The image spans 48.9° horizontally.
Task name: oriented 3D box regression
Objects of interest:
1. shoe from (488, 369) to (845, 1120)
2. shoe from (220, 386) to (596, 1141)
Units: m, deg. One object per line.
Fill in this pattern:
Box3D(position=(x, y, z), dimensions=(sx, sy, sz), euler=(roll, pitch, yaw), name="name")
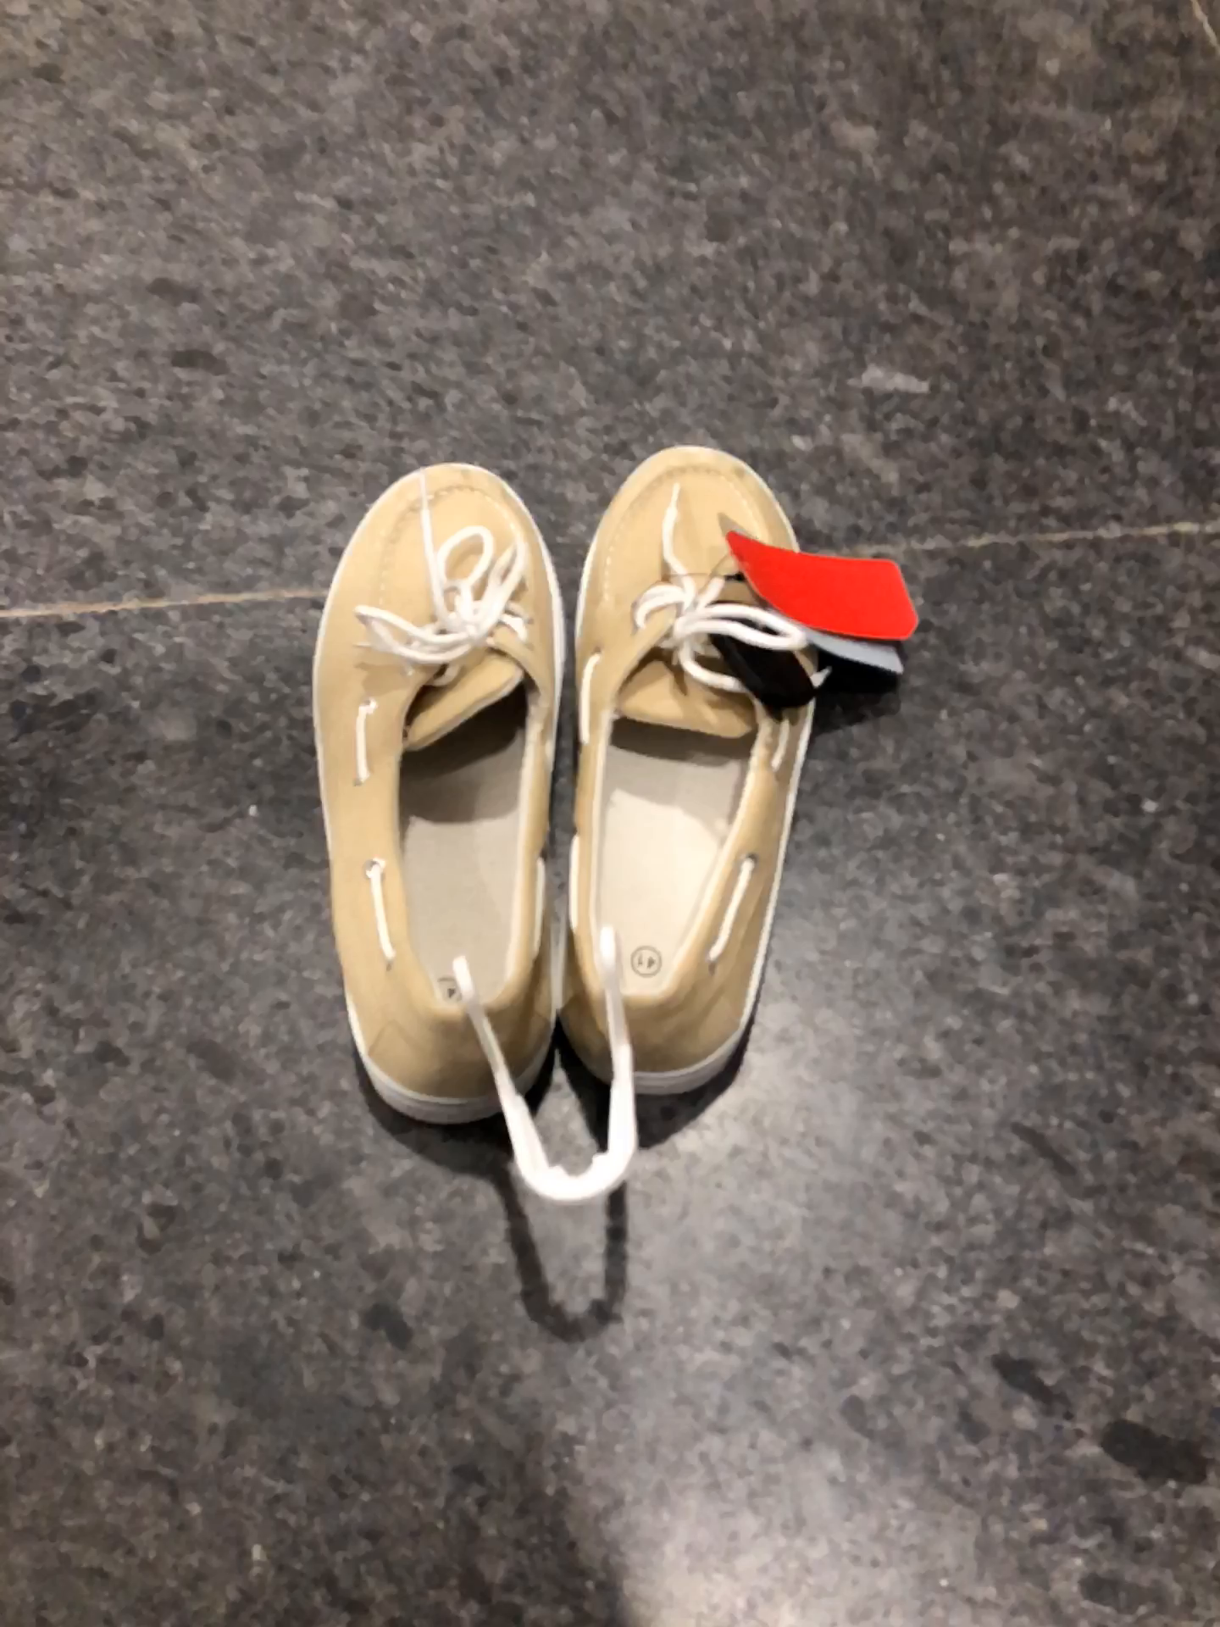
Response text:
Box3D(position=(0.025, -0.028, 0.482), dimensions=(0.096, 0.106, 0.243), euler=(5, 62, 2), name="shoe")
Box3D(position=(-0.063, -0.021, 0.474), dimensions=(0.103, 0.106, 0.243), euler=(-3, 62, -2), name="shoe")
